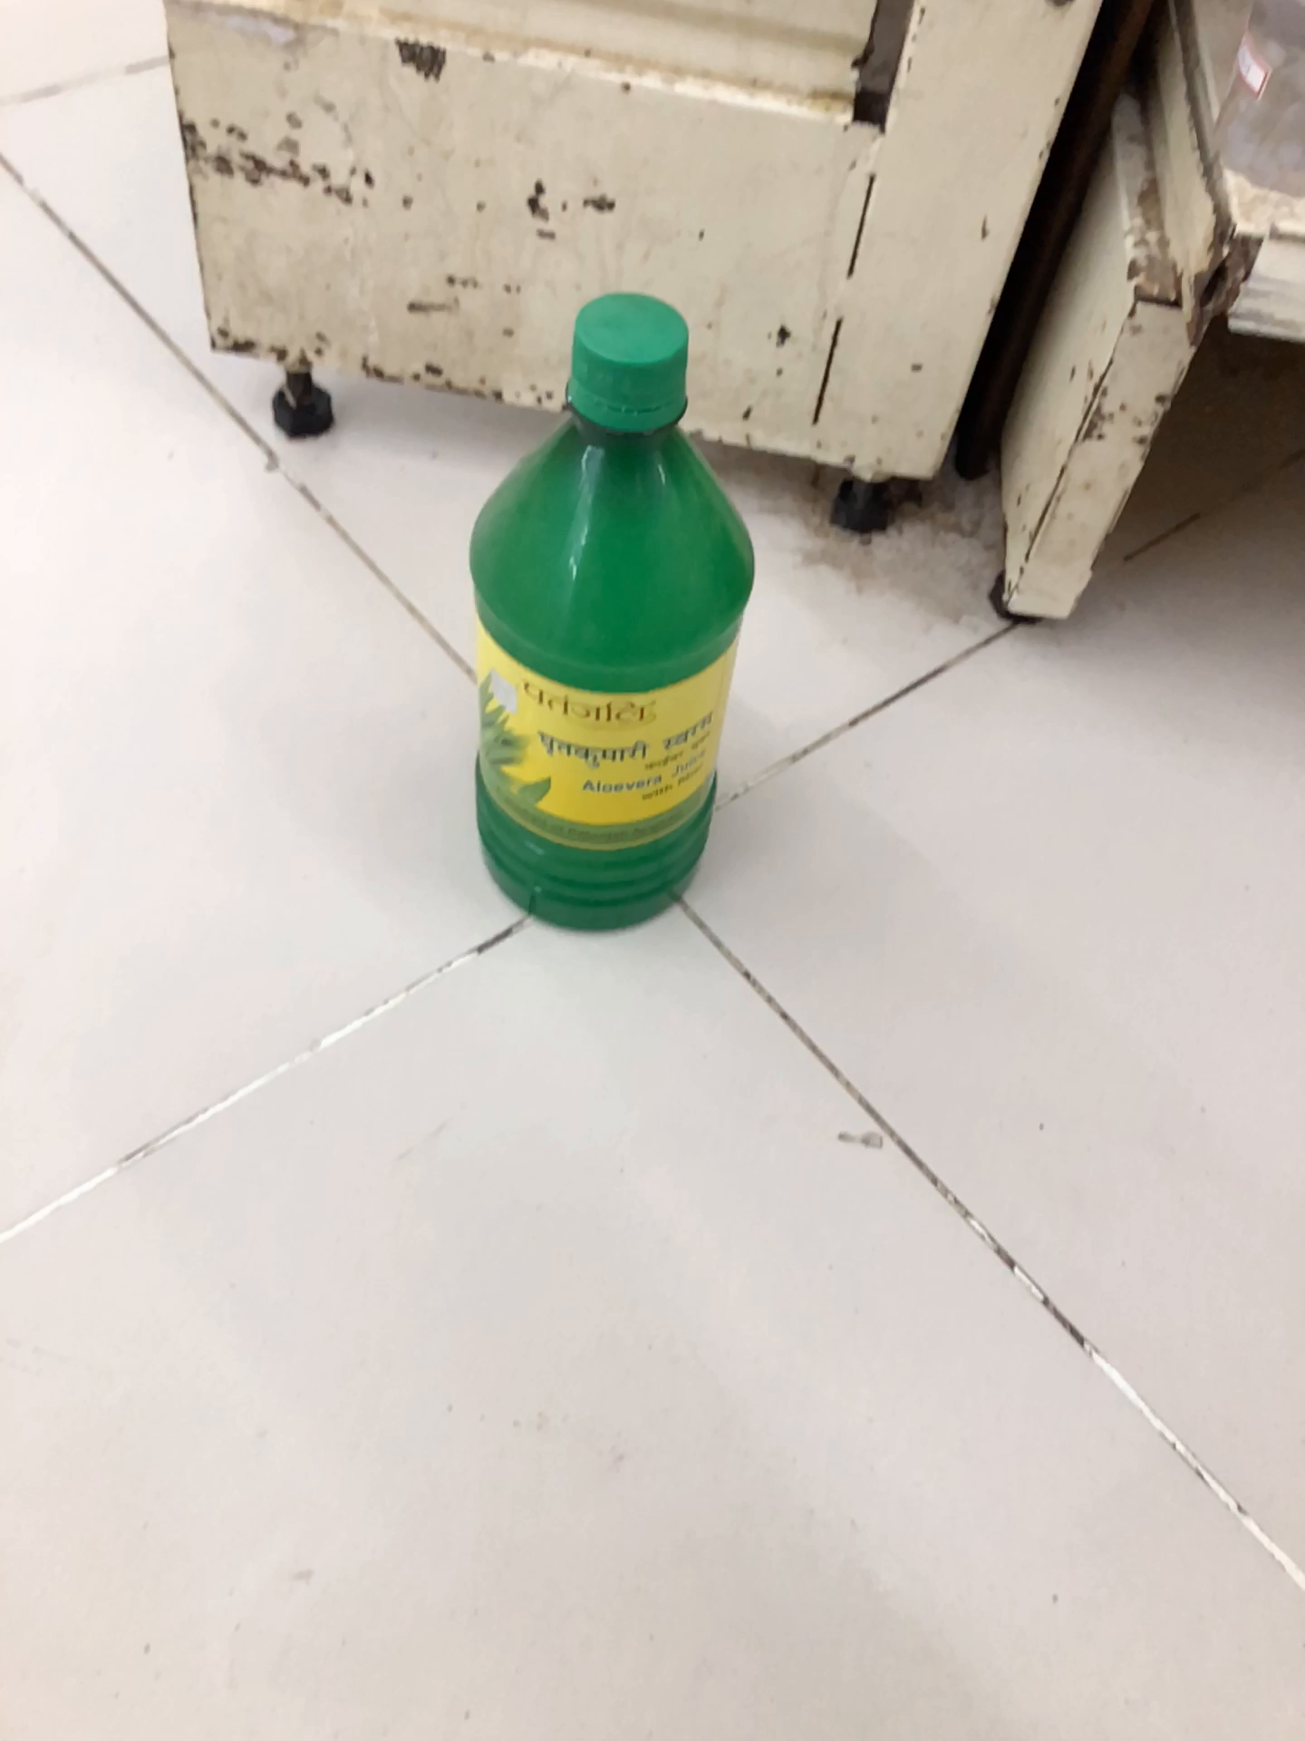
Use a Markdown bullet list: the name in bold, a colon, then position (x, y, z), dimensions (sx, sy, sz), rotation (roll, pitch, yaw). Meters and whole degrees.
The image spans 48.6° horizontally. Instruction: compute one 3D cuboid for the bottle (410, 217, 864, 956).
- **bottle**: position (-0.015, -0.078, 0.468), dimensions (0.100, 0.219, 0.100), rotation (3, 56, -4)
